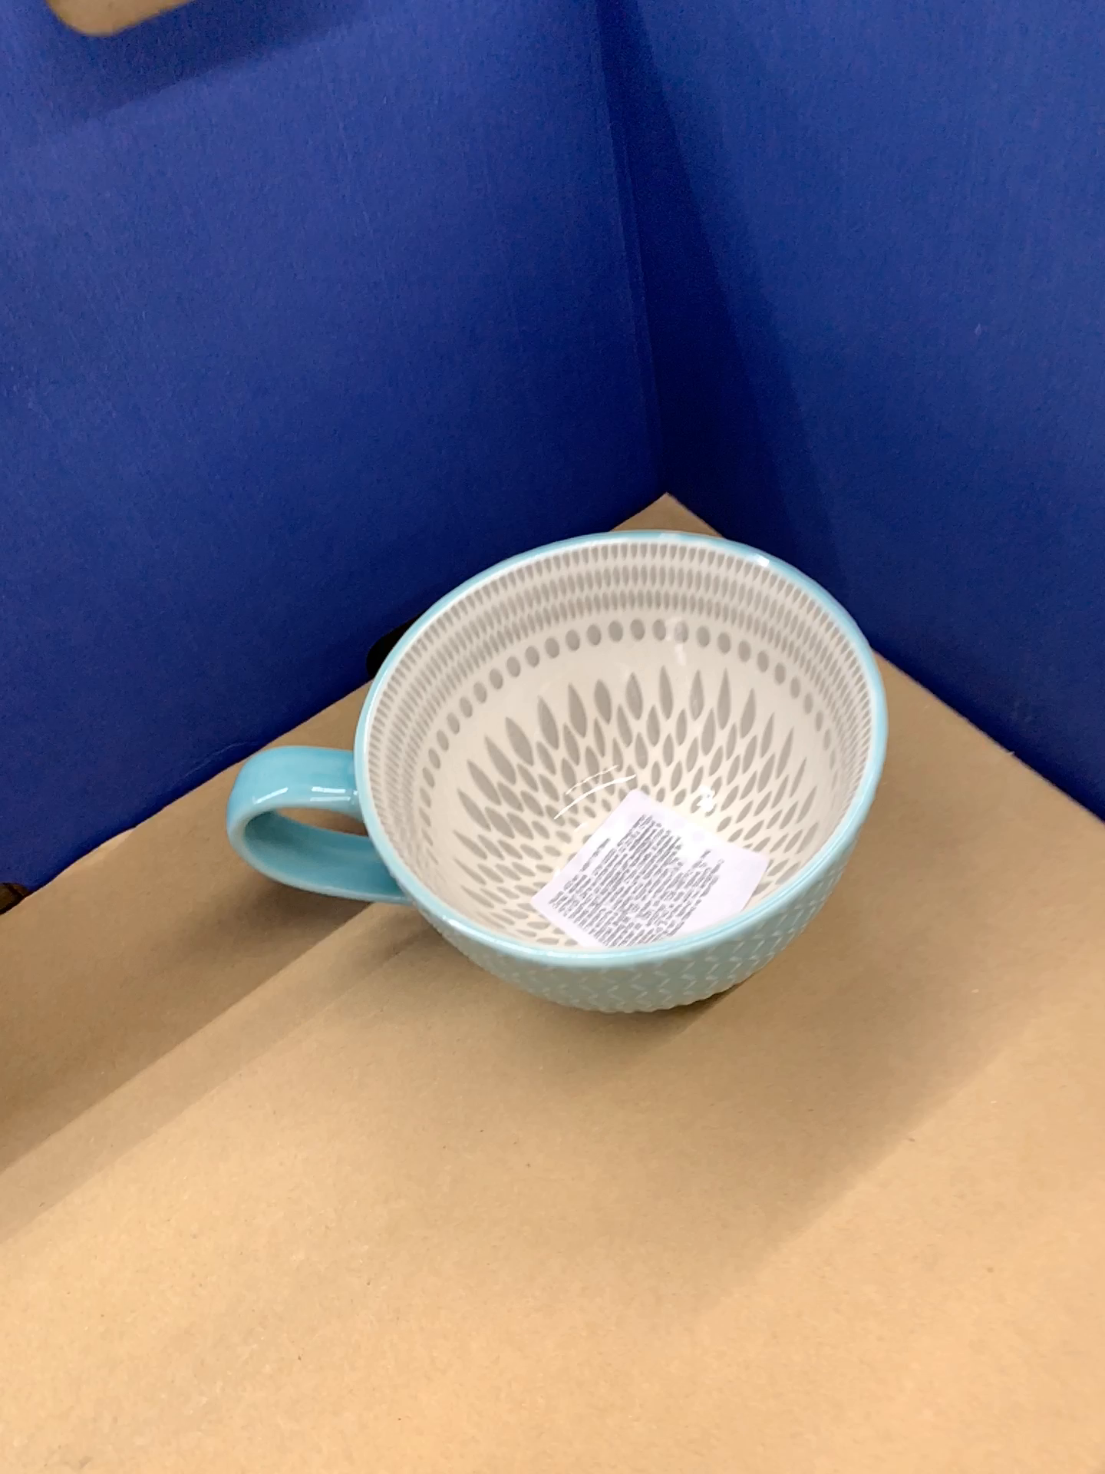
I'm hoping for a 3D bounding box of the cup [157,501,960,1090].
[{"bbox_3d":[0.002,0.014,0.270,0.152,0.059,0.113,-5,55,8],"label":"cup"}]
